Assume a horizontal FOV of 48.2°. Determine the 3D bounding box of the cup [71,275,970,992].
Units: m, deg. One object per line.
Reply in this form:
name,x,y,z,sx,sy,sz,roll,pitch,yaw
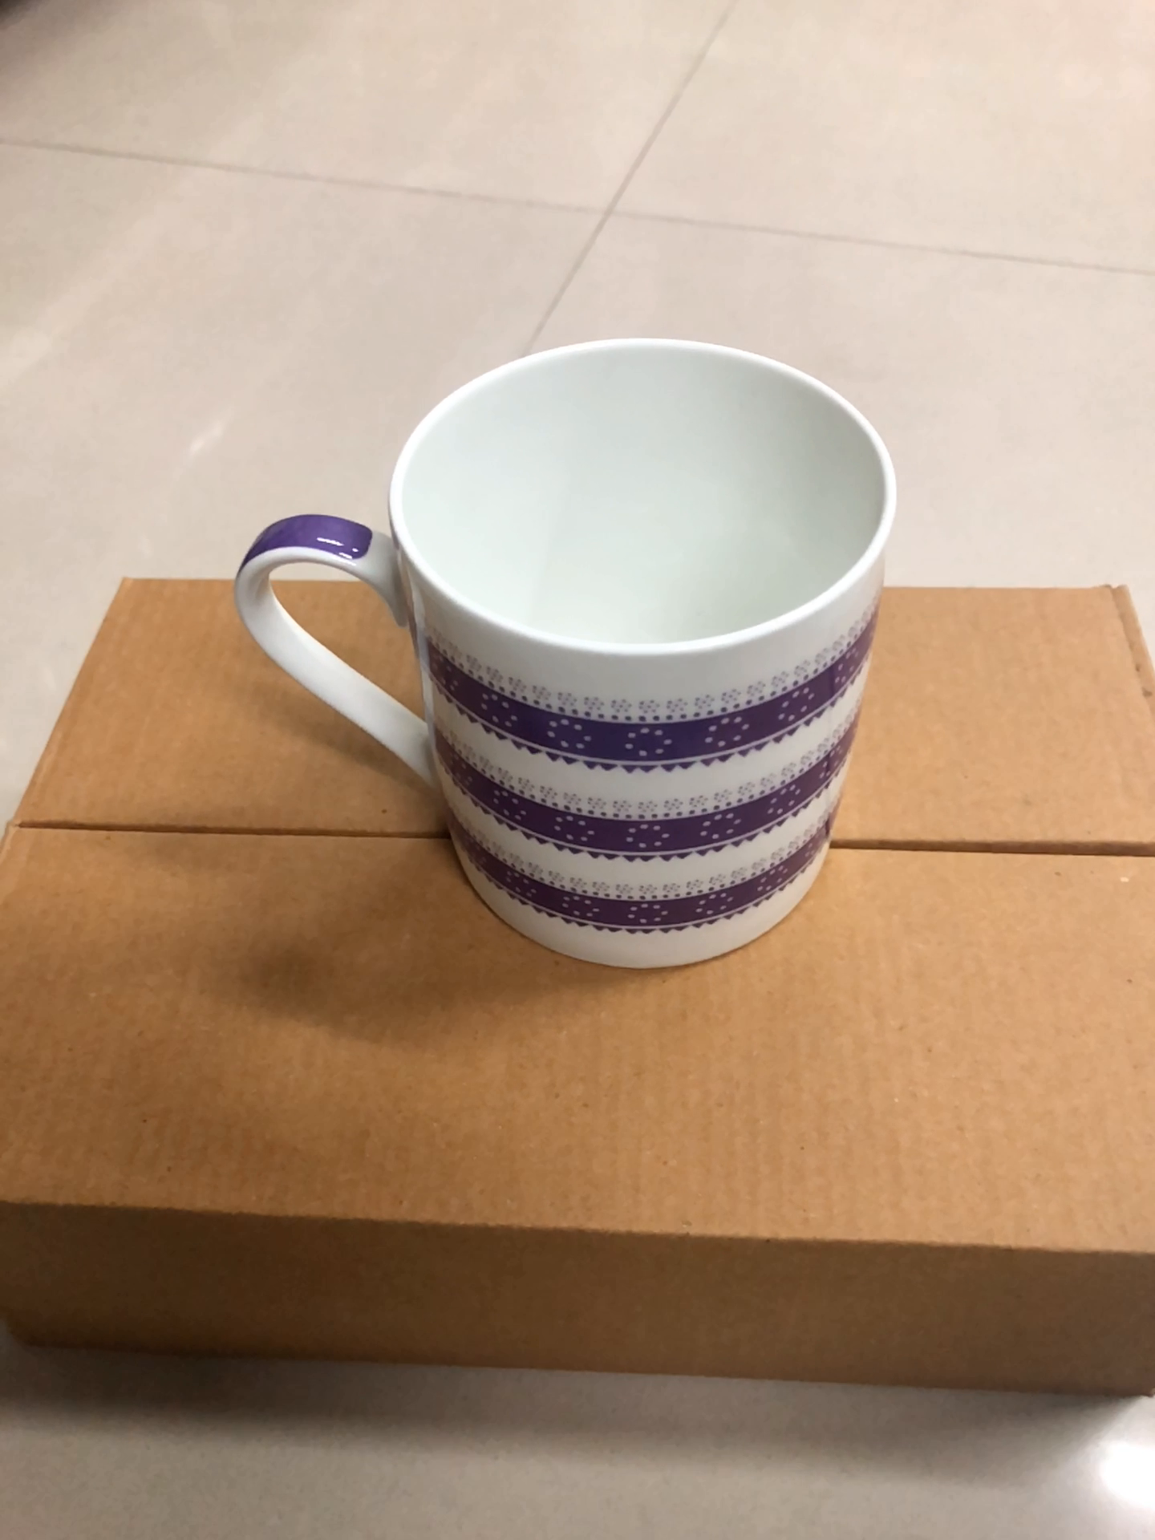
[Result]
cup,-0.004,-0.025,0.235,0.120,0.089,0.091,2,49,4
